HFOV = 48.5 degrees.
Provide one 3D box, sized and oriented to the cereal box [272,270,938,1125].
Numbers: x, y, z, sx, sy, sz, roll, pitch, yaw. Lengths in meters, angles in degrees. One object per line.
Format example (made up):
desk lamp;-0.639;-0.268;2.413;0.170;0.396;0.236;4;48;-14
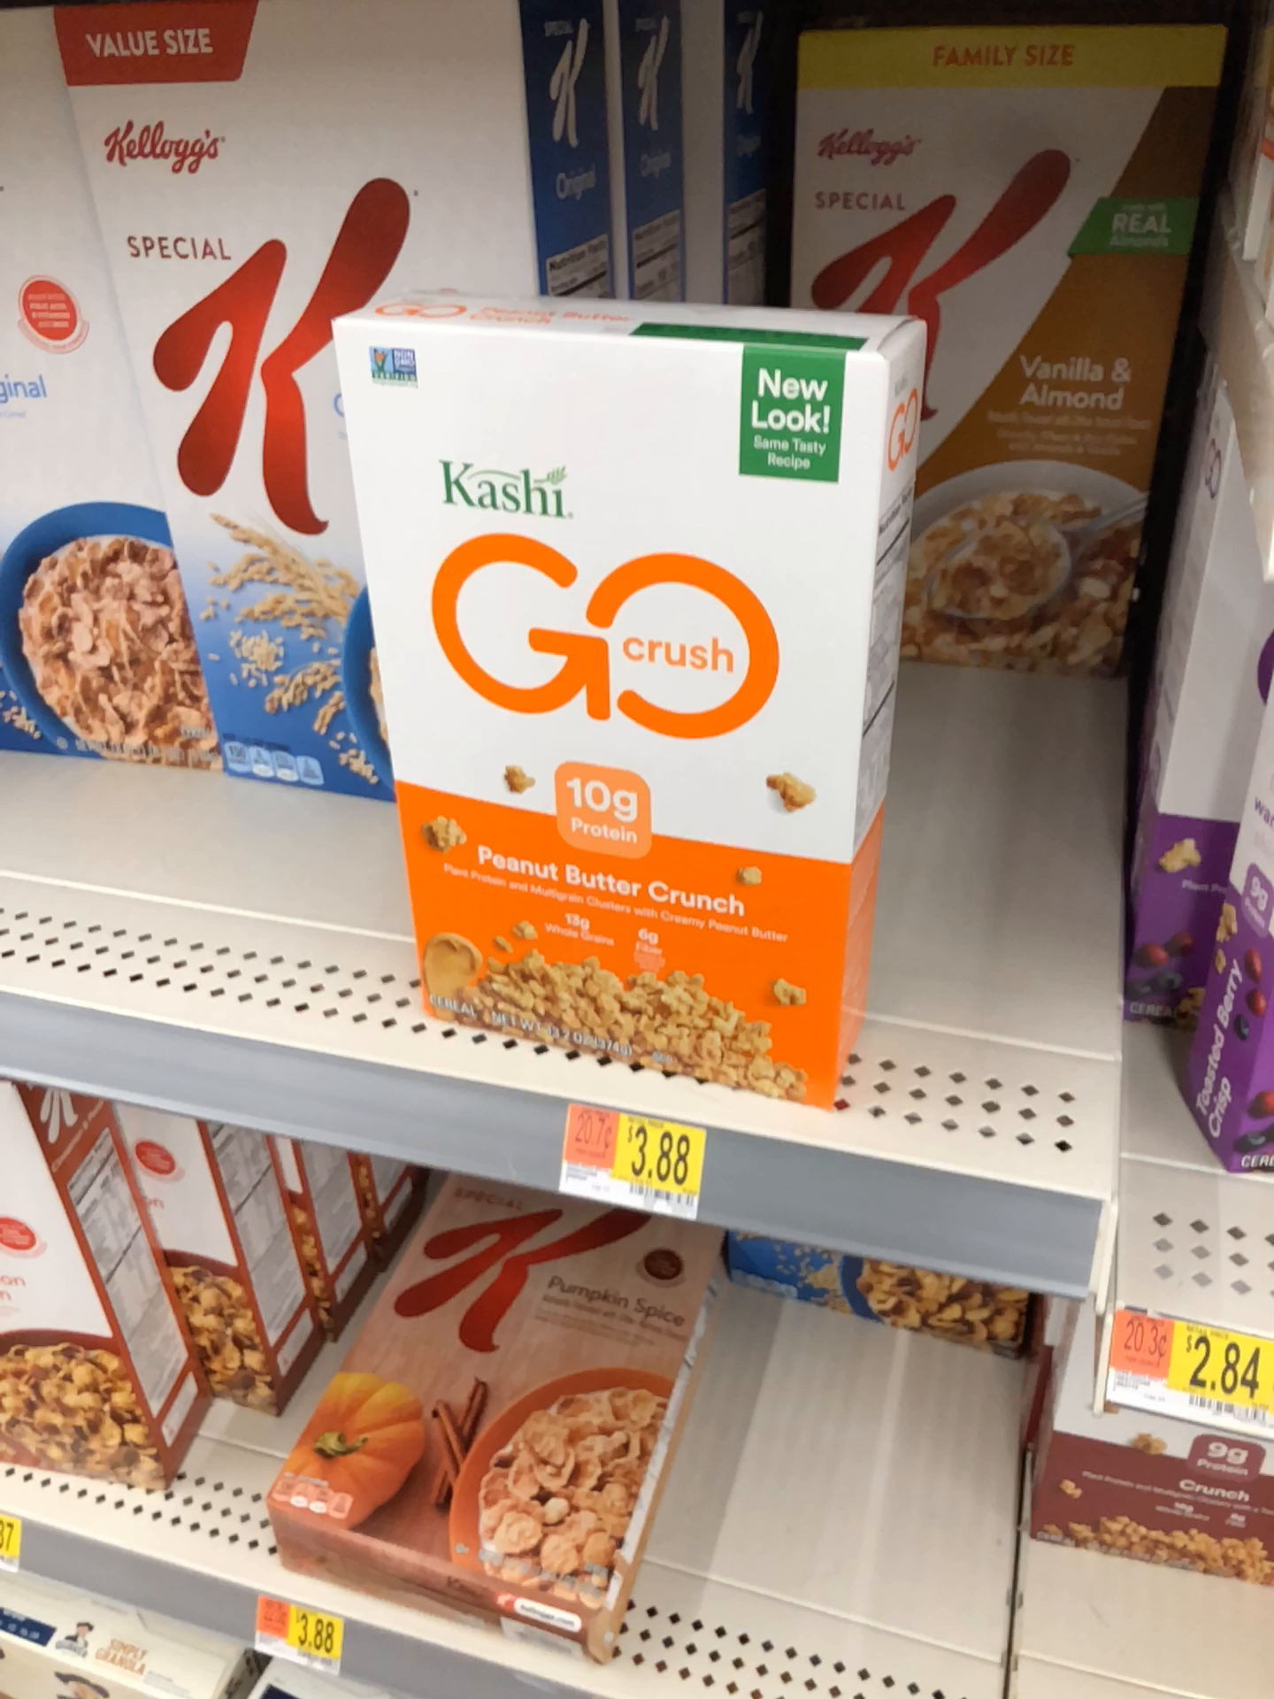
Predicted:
cereal box;-0.005;-0.041;0.442;0.170;0.249;0.050;10;35;19
